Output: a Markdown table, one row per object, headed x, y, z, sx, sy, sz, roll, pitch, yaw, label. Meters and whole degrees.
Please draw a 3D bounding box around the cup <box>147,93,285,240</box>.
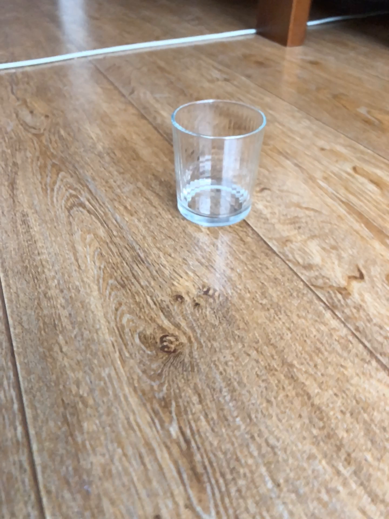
| x | y | z | sx | sy | sz | roll | pitch | yaw | label |
| --- | --- | --- | --- | --- | --- | --- | --- | --- | --- |
| 0.016 | -0.081 | 0.363 | 0.075 | 0.079 | 0.078 | 1 | 39 | -1 | cup |
